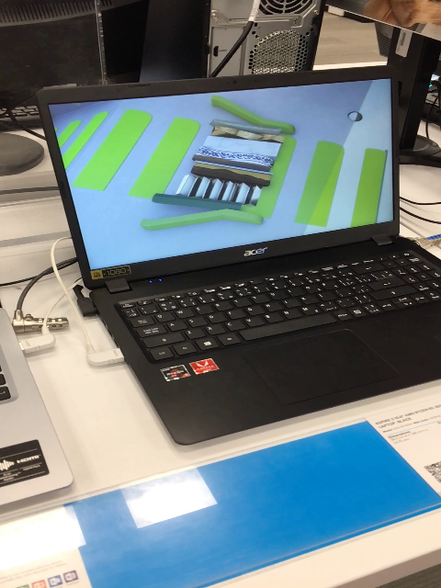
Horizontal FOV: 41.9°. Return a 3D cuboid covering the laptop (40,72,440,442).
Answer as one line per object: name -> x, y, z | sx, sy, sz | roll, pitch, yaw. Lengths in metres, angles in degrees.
laptop -> 0.079, -0.066, 0.539 | 0.378, 0.192, 0.296 | -13, 41, -20
